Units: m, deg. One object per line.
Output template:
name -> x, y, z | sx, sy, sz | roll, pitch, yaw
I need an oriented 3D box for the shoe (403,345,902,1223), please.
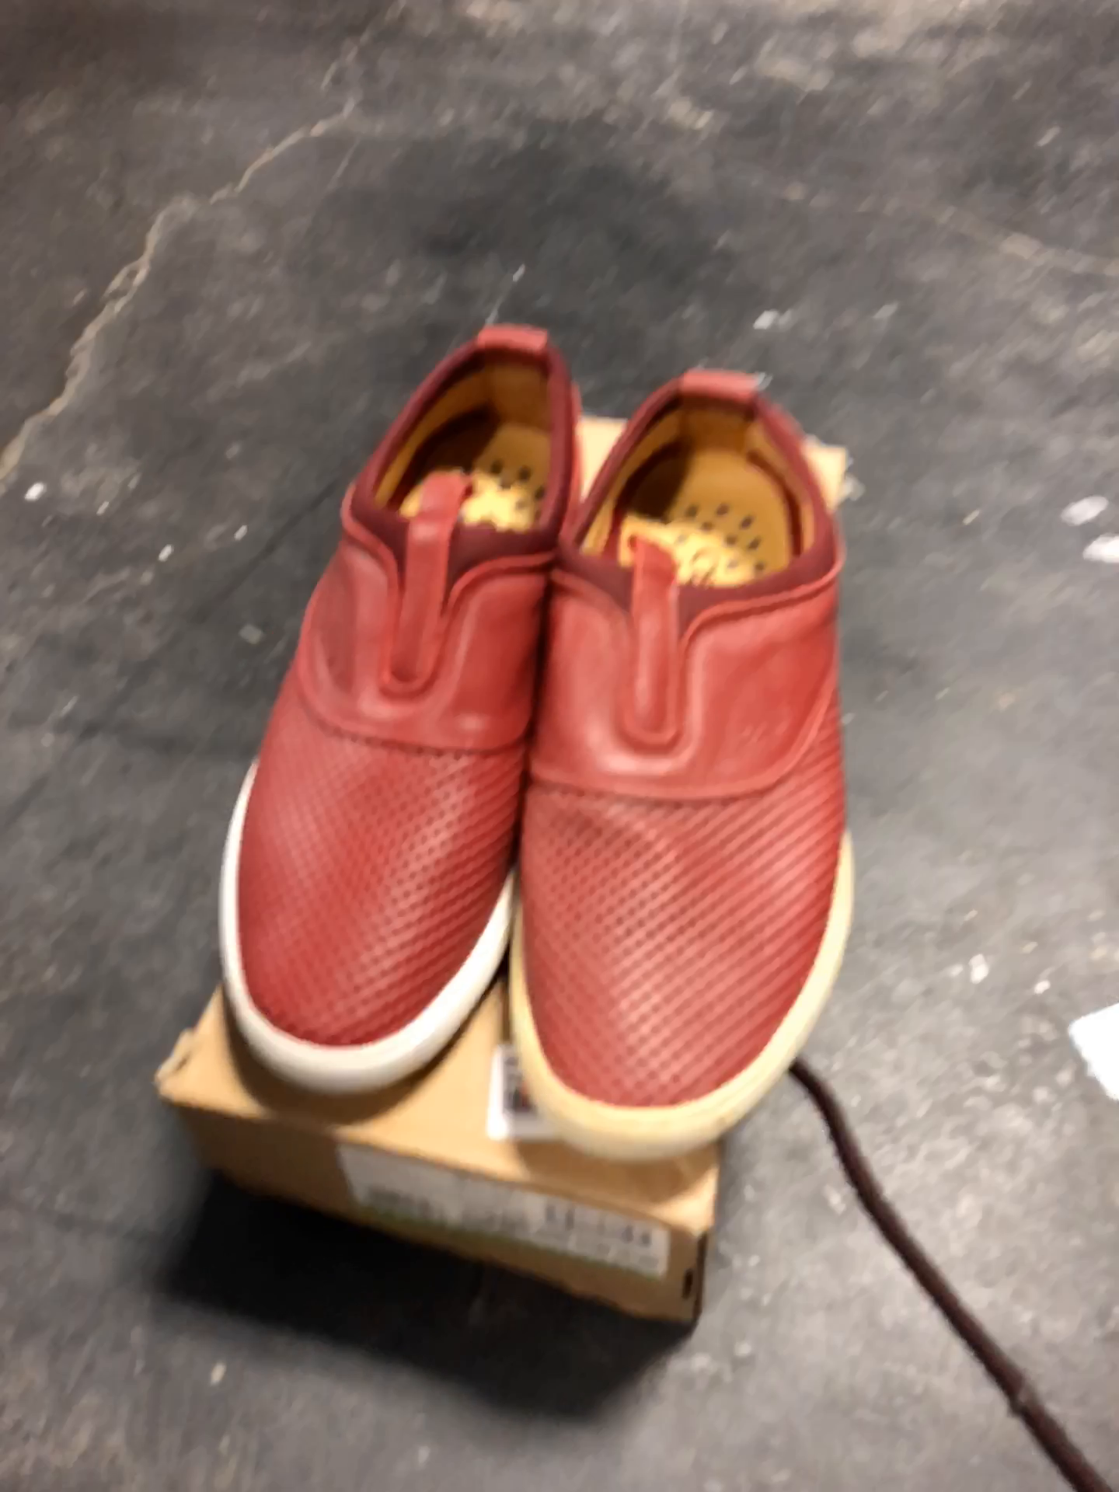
shoe -> 0.041, -0.004, 0.373 | 0.100, 0.089, 0.252 | 8, 55, 8

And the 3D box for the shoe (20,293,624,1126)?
shoe -> -0.051, -0.026, 0.386 | 0.100, 0.089, 0.252 | 8, 55, 8
